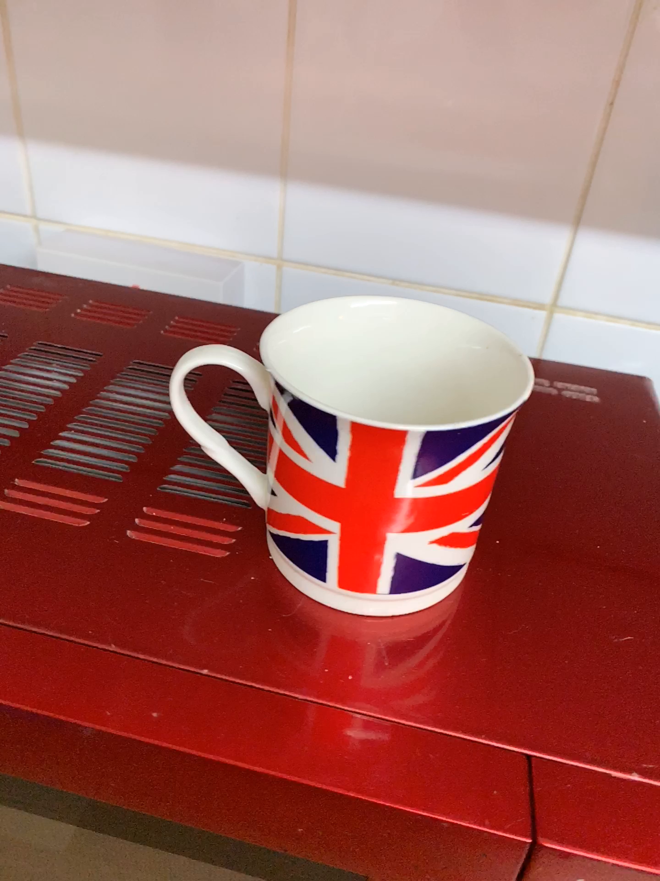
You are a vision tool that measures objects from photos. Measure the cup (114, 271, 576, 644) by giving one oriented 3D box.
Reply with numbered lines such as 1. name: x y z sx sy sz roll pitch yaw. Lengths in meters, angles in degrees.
1. cup: 0.003 0.002 0.232 0.120 0.079 0.081 7 34 1
